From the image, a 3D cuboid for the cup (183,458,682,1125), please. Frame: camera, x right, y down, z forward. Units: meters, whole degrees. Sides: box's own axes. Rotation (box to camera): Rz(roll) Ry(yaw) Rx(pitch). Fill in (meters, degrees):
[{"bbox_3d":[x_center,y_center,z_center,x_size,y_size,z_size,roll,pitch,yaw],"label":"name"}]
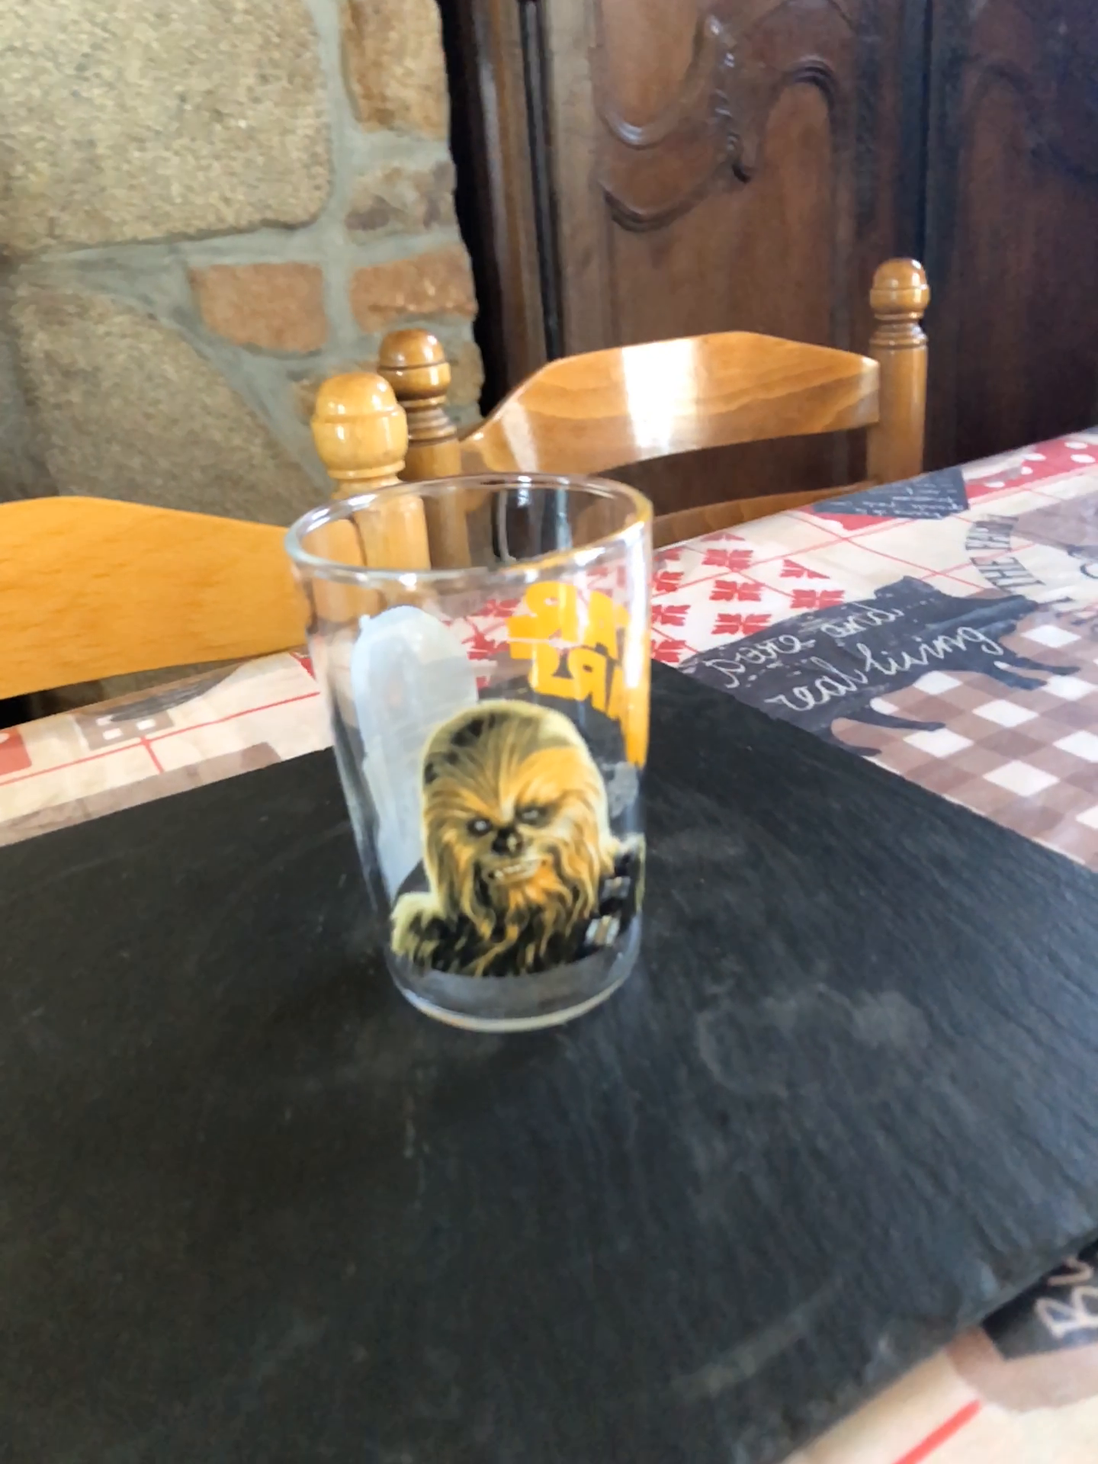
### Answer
[{"bbox_3d":[-0.015,0.008,0.228,0.070,0.099,0.070,-4,24,2],"label":"cup"}]
